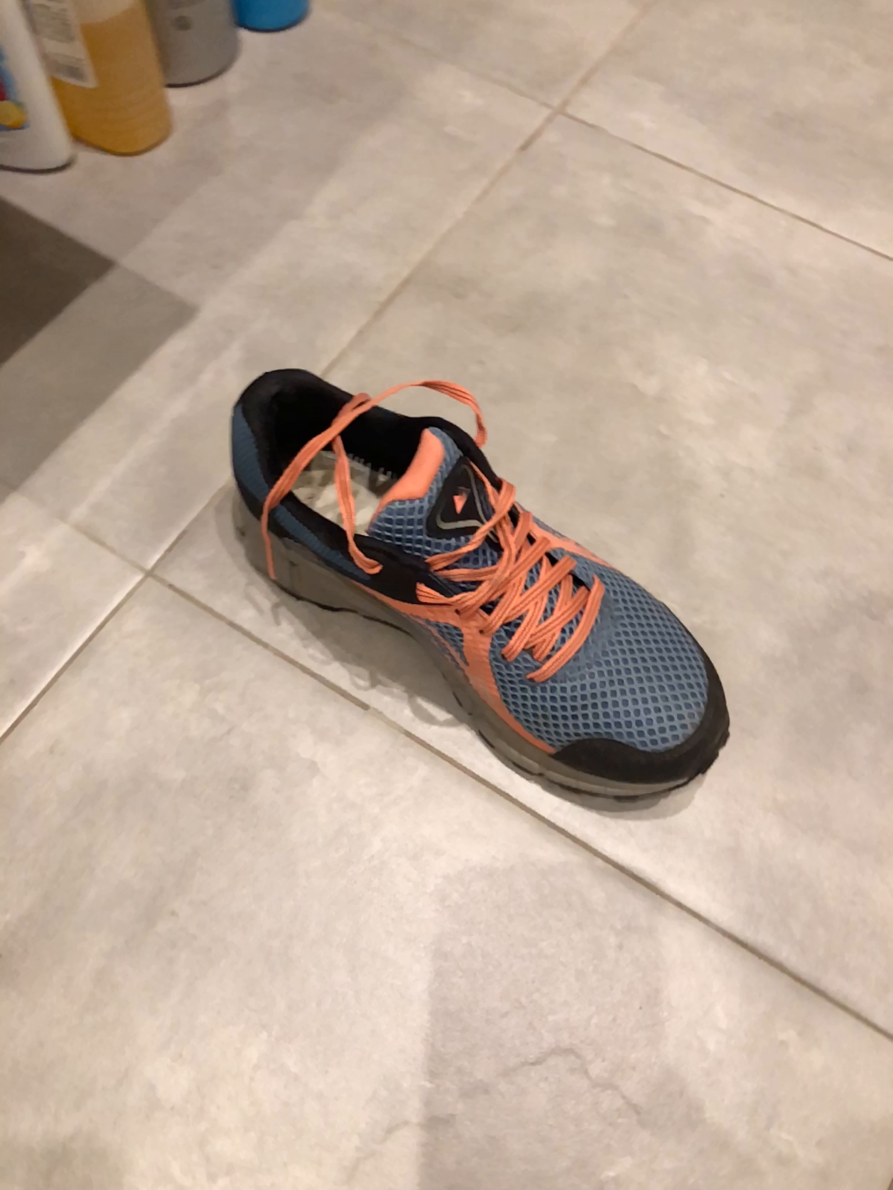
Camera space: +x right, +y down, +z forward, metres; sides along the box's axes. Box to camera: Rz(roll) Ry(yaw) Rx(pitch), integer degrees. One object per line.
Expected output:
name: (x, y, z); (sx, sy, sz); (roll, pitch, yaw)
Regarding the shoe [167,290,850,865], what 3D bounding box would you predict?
shoe: (0.020, -0.010, 0.428); (0.250, 0.090, 0.110); (32, 67, 13)
